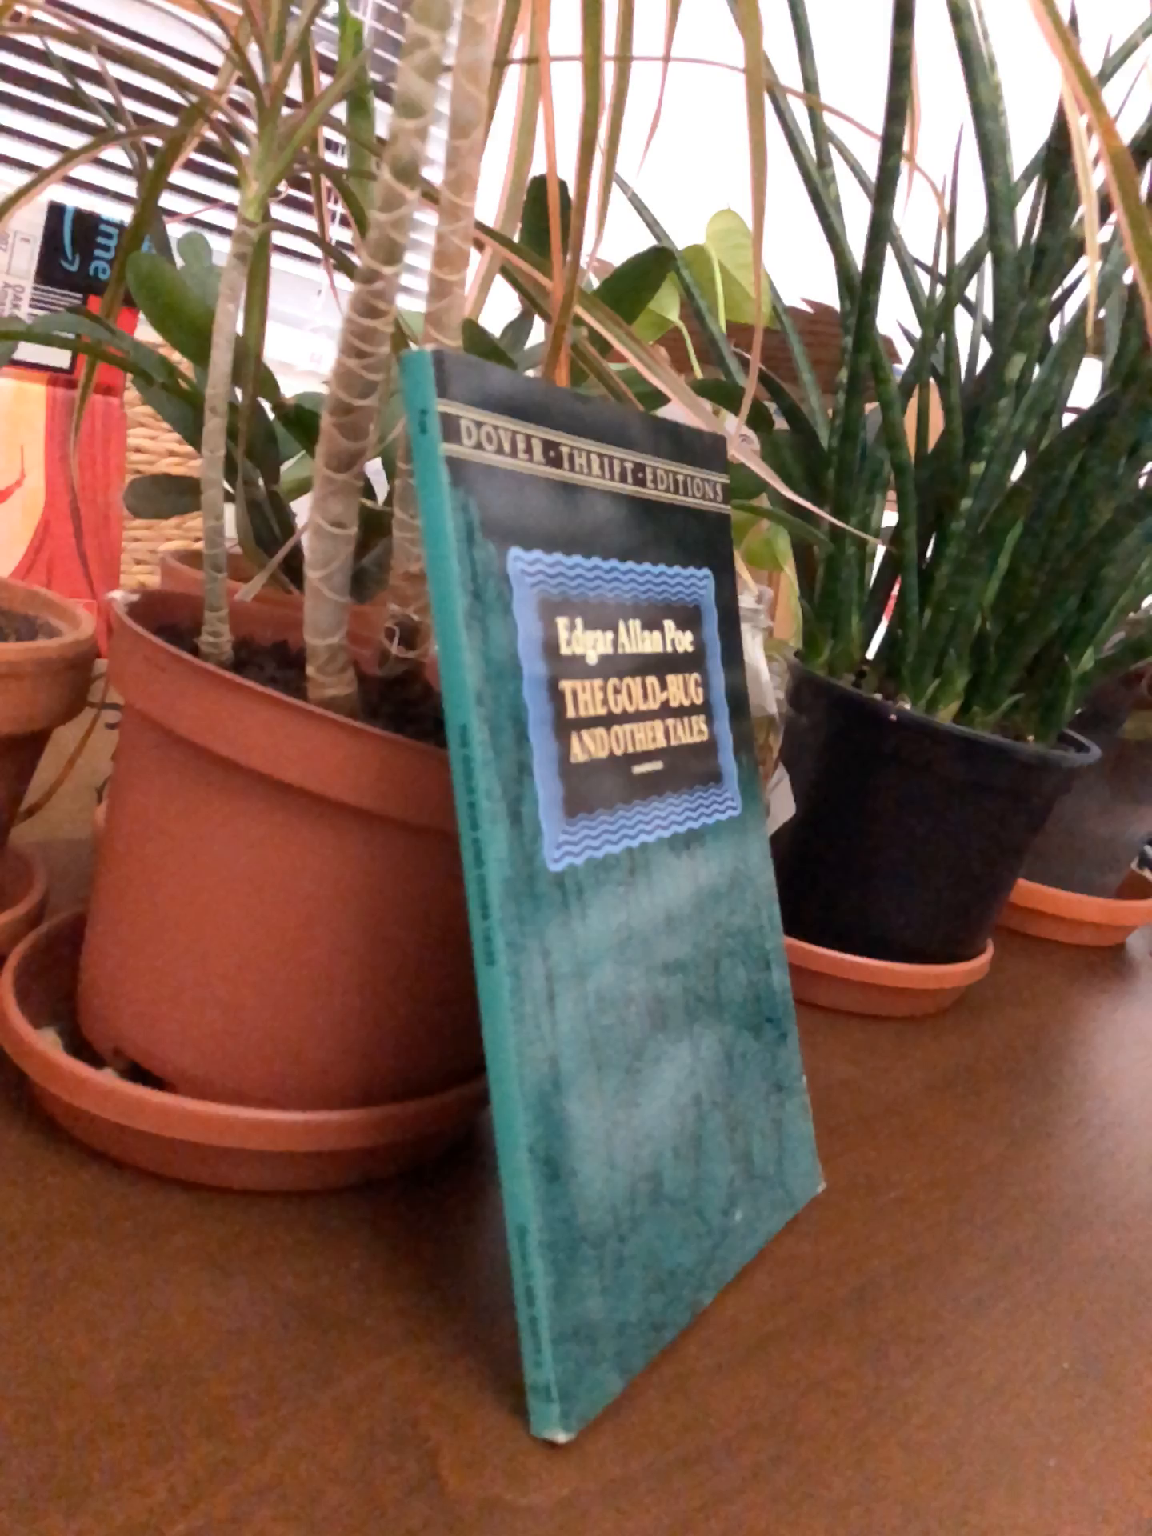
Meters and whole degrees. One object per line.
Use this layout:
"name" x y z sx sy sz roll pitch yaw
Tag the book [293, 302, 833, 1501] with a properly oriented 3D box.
"book" 0.009 0.018 0.284 0.020 0.210 0.140 -8 1 32
